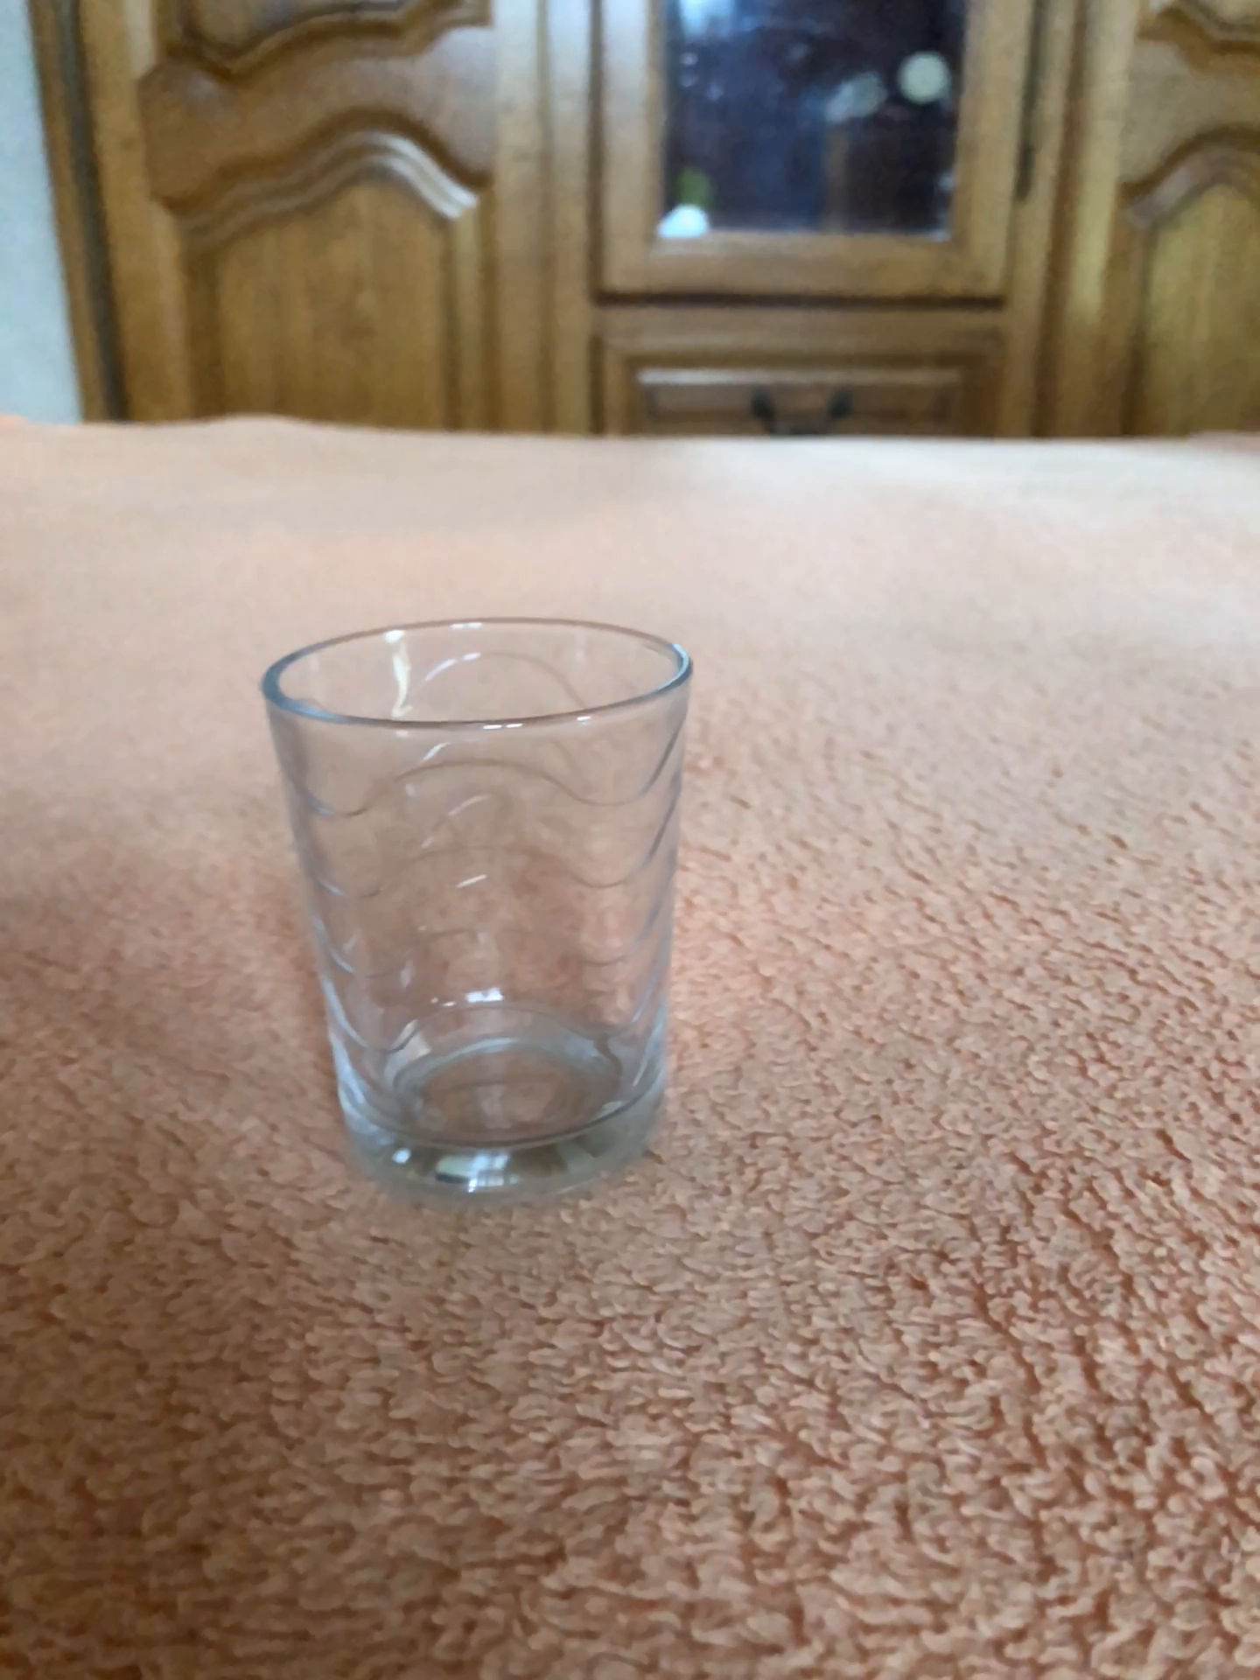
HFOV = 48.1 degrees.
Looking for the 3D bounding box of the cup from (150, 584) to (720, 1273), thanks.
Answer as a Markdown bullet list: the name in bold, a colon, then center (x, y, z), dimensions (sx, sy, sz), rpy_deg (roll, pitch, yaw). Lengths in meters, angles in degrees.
- **cup**: center (-0.028, 0.008, 0.222), dimensions (0.060, 0.080, 0.060), rpy_deg (-1, 21, 0)
